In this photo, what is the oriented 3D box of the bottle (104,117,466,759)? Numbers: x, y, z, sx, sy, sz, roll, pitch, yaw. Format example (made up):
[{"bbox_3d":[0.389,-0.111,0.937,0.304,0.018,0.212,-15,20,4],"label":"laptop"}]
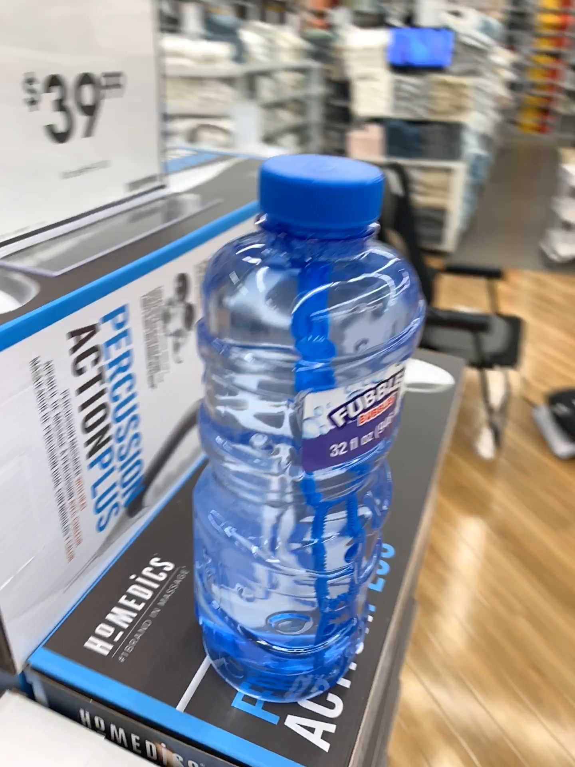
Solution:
[{"bbox_3d":[-0.002,0.028,0.249,0.081,0.243,0.081,0,30,0],"label":"bottle"}]
